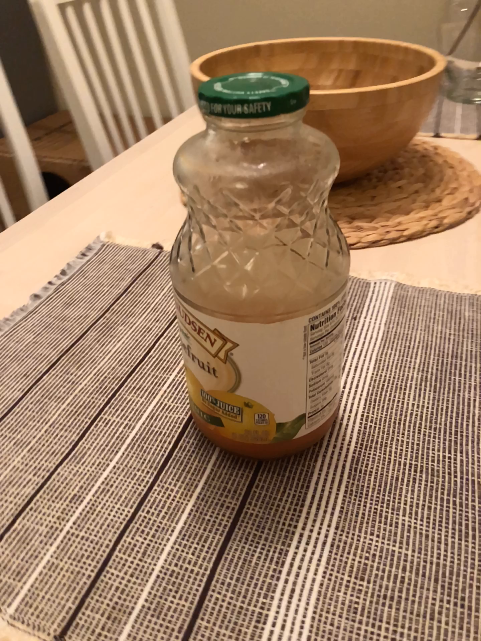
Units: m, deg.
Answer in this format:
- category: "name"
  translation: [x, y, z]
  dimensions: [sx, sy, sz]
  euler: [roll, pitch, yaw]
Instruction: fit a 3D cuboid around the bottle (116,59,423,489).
- category: "bottle"
  translation: [0.011, -0.025, 0.288]
  dimensions: [0.100, 0.189, 0.100]
  euler: [-2, 36, 1]
